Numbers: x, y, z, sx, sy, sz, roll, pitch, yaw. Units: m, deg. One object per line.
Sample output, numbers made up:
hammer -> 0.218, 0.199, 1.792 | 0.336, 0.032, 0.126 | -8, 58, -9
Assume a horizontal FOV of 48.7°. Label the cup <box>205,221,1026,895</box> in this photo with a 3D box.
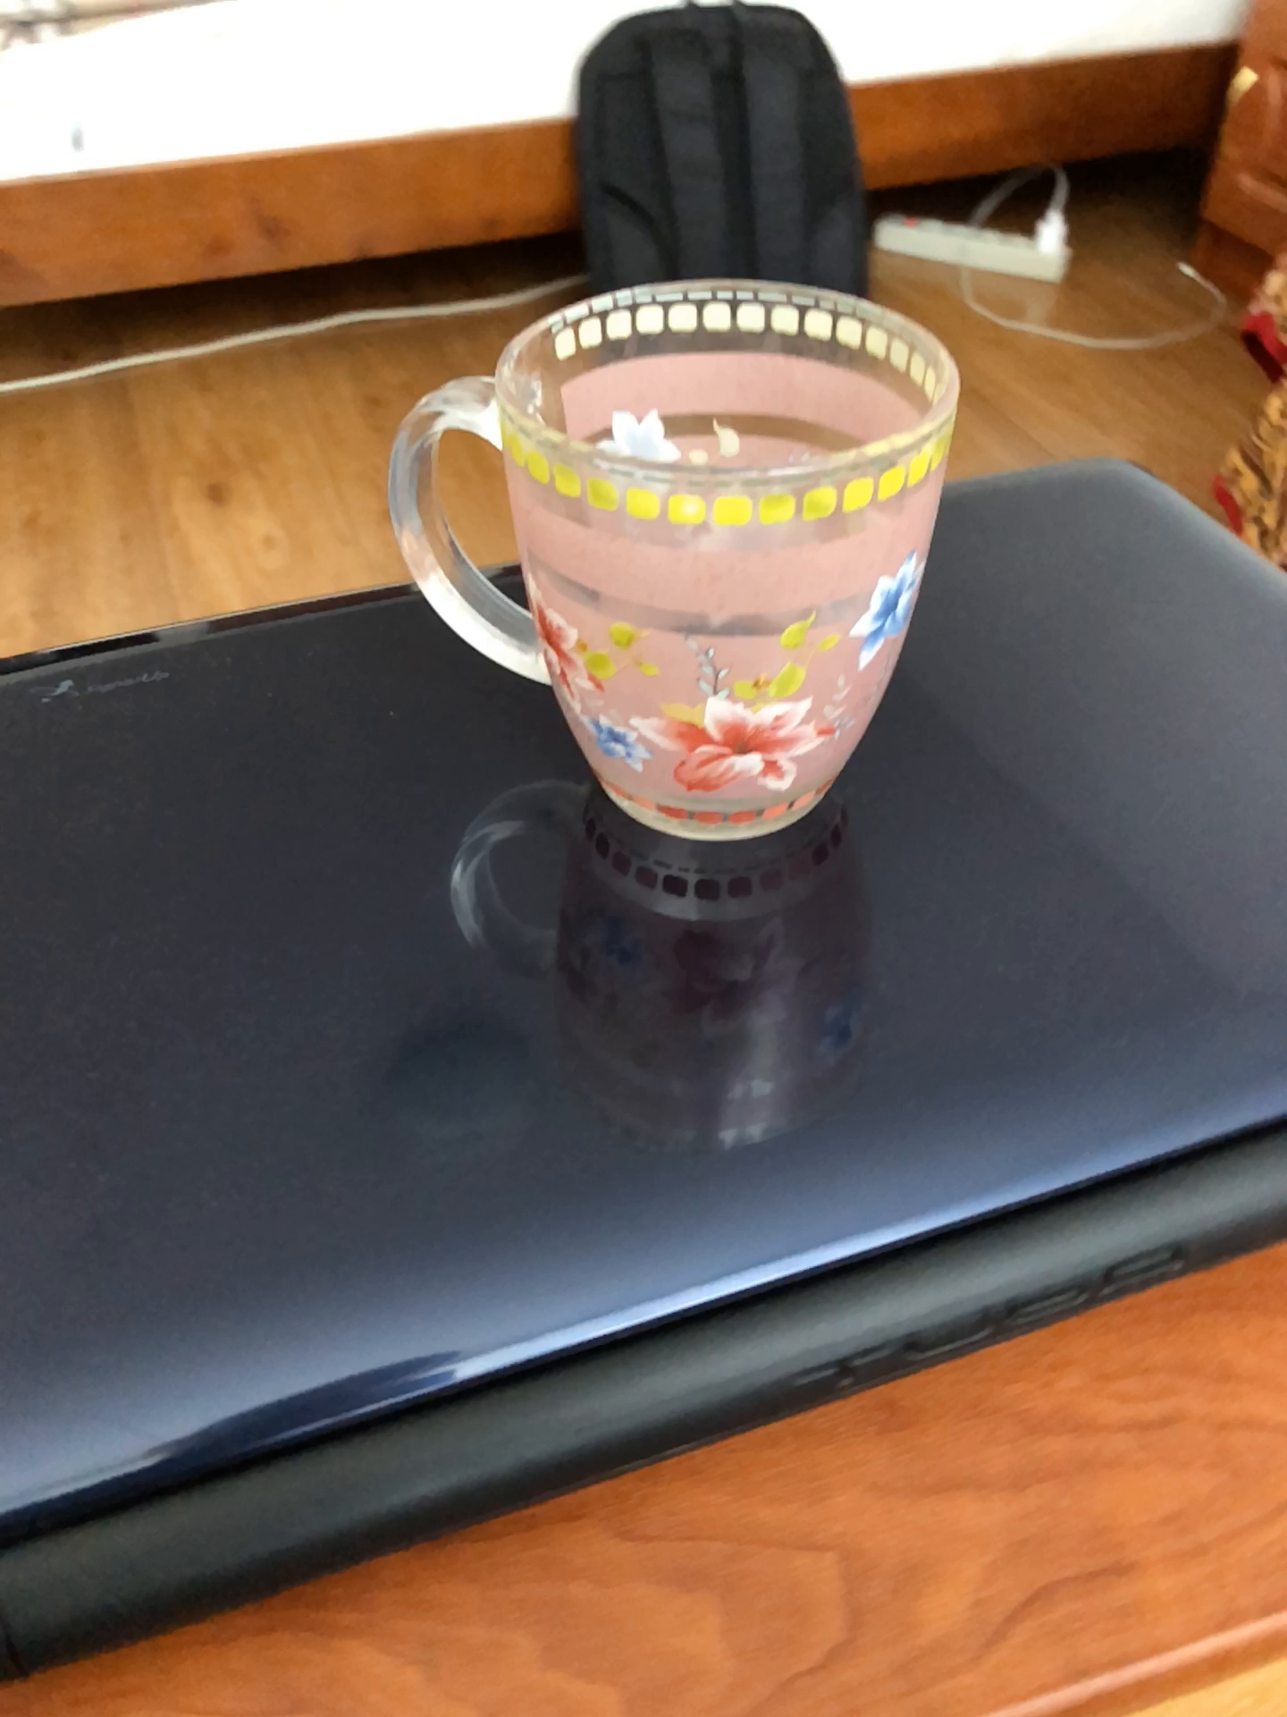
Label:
cup -> 0.000, -0.067, 0.294 | 0.130, 0.081, 0.095 | 12, 44, 14
